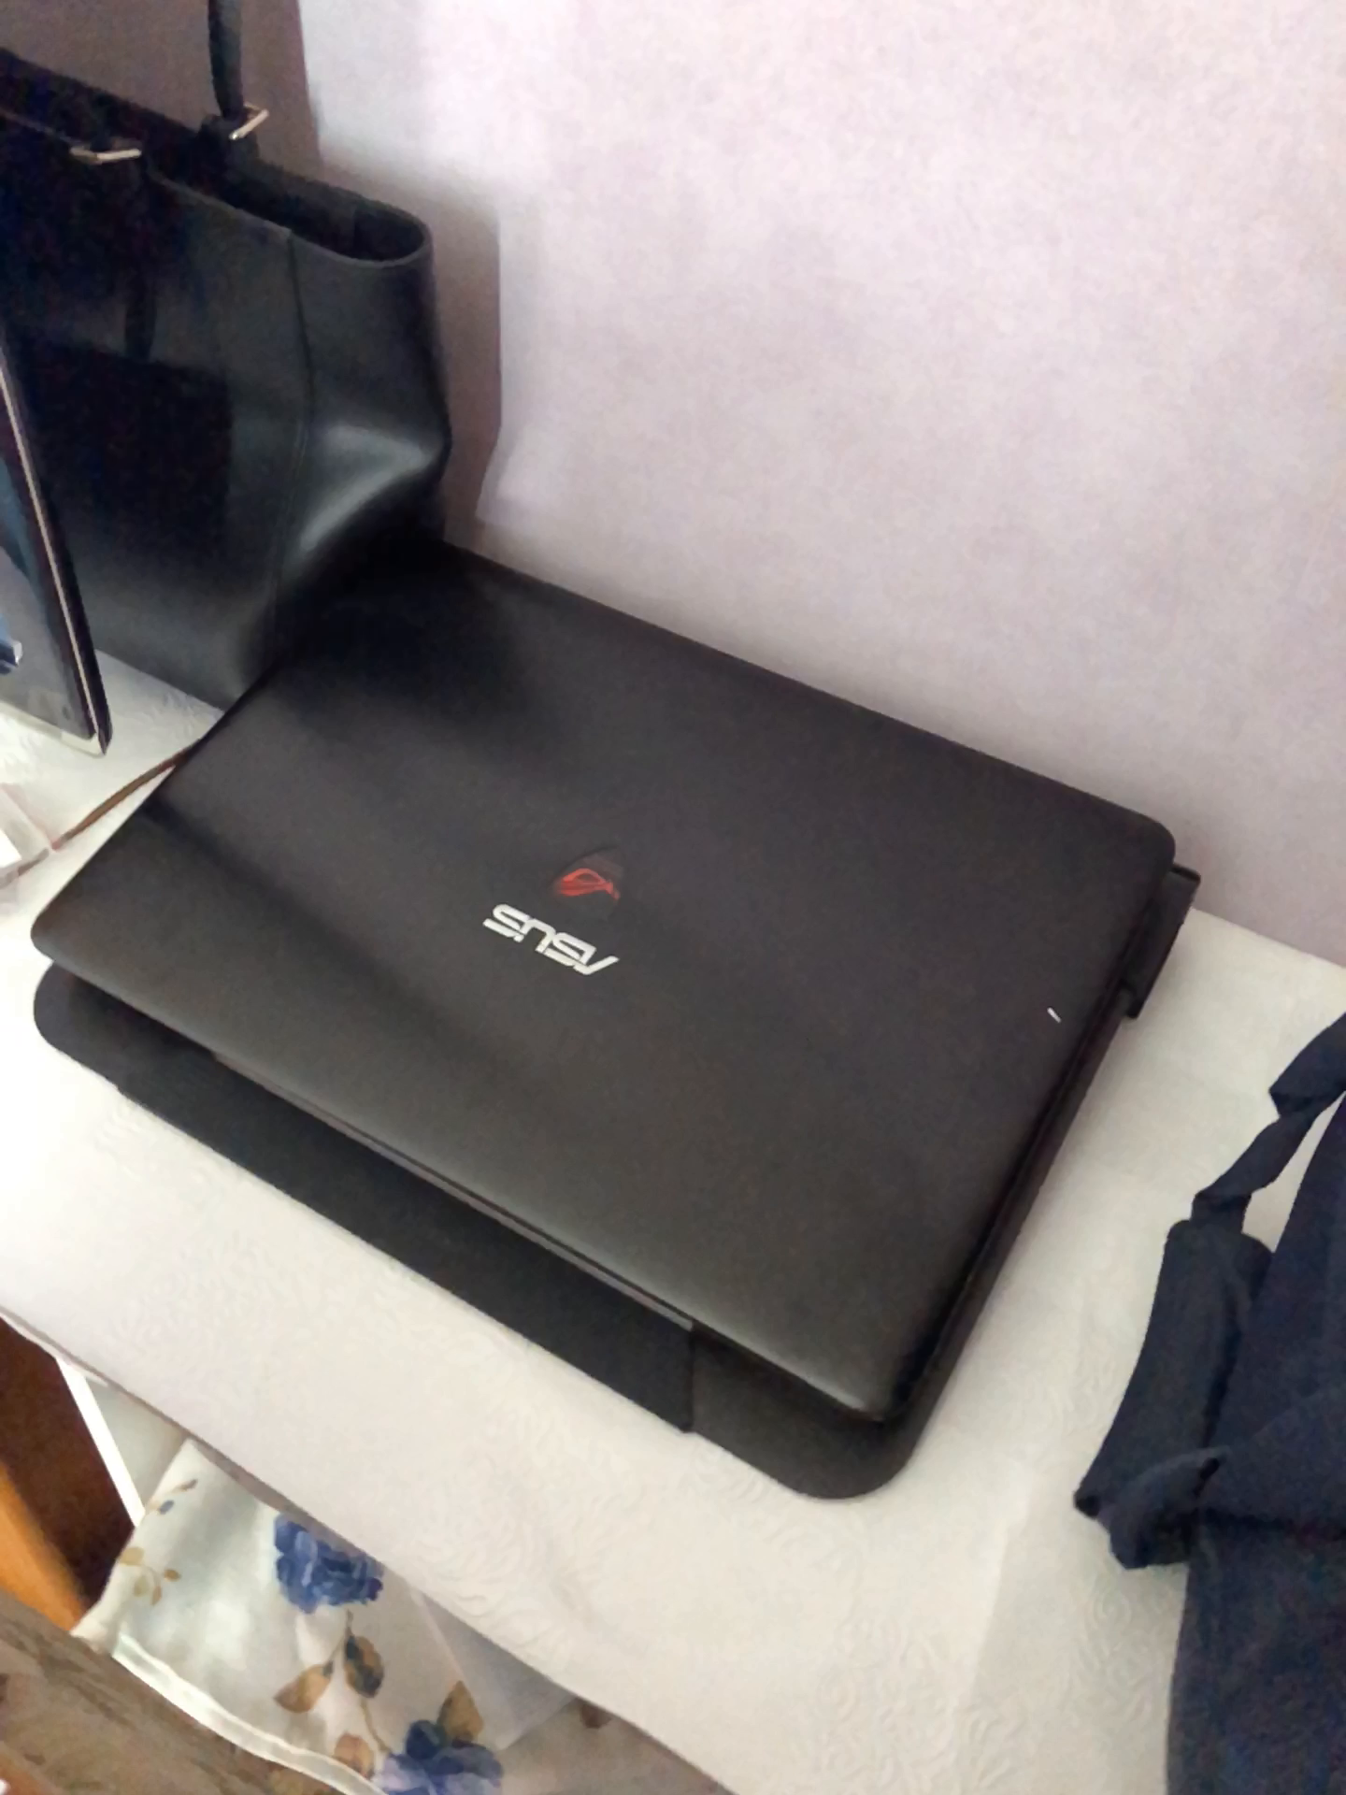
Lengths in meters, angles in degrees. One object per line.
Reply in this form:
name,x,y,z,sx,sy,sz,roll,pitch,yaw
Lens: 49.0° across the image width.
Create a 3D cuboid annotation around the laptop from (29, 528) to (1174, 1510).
laptop,-0.032,0.014,0.620,0.394,0.060,0.267,24,59,20
